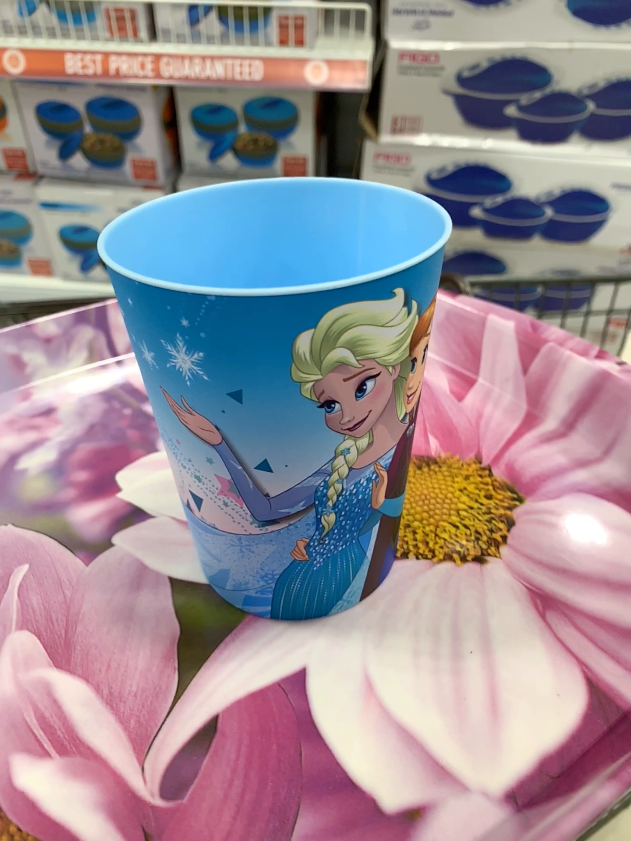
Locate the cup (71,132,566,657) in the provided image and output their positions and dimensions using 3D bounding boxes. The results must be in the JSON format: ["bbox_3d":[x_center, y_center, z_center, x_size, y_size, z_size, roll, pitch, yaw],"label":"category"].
[{"bbox_3d":[-0.001,-0.003,0.164,0.080,0.109,0.060,-5,39,-5],"label":"cup"}]
